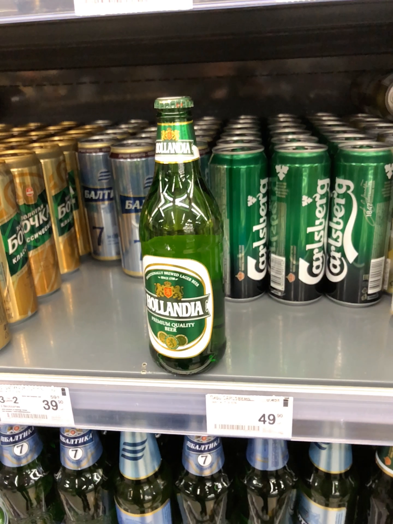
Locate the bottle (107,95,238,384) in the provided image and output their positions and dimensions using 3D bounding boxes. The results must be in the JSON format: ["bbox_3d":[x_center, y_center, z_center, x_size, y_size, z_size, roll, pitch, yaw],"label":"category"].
[{"bbox_3d":[-0.012,-0.017,0.348,0.070,0.211,0.063,8,24,24],"label":"bottle"}]
